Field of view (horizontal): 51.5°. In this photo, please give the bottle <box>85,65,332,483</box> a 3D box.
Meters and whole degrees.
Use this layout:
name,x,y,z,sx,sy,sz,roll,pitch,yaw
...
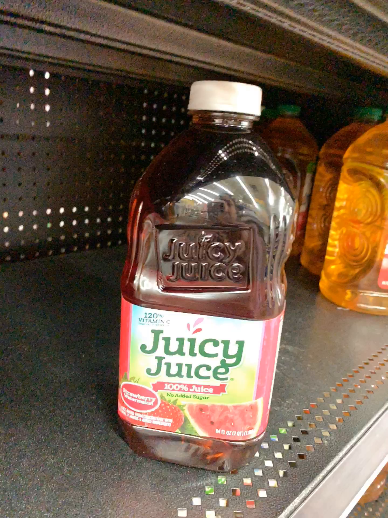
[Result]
name,x,y,z,sx,sy,sz,roll,pitch,yaw
bottle,0.000,0.013,0.288,0.125,0.255,0.090,7,18,4
